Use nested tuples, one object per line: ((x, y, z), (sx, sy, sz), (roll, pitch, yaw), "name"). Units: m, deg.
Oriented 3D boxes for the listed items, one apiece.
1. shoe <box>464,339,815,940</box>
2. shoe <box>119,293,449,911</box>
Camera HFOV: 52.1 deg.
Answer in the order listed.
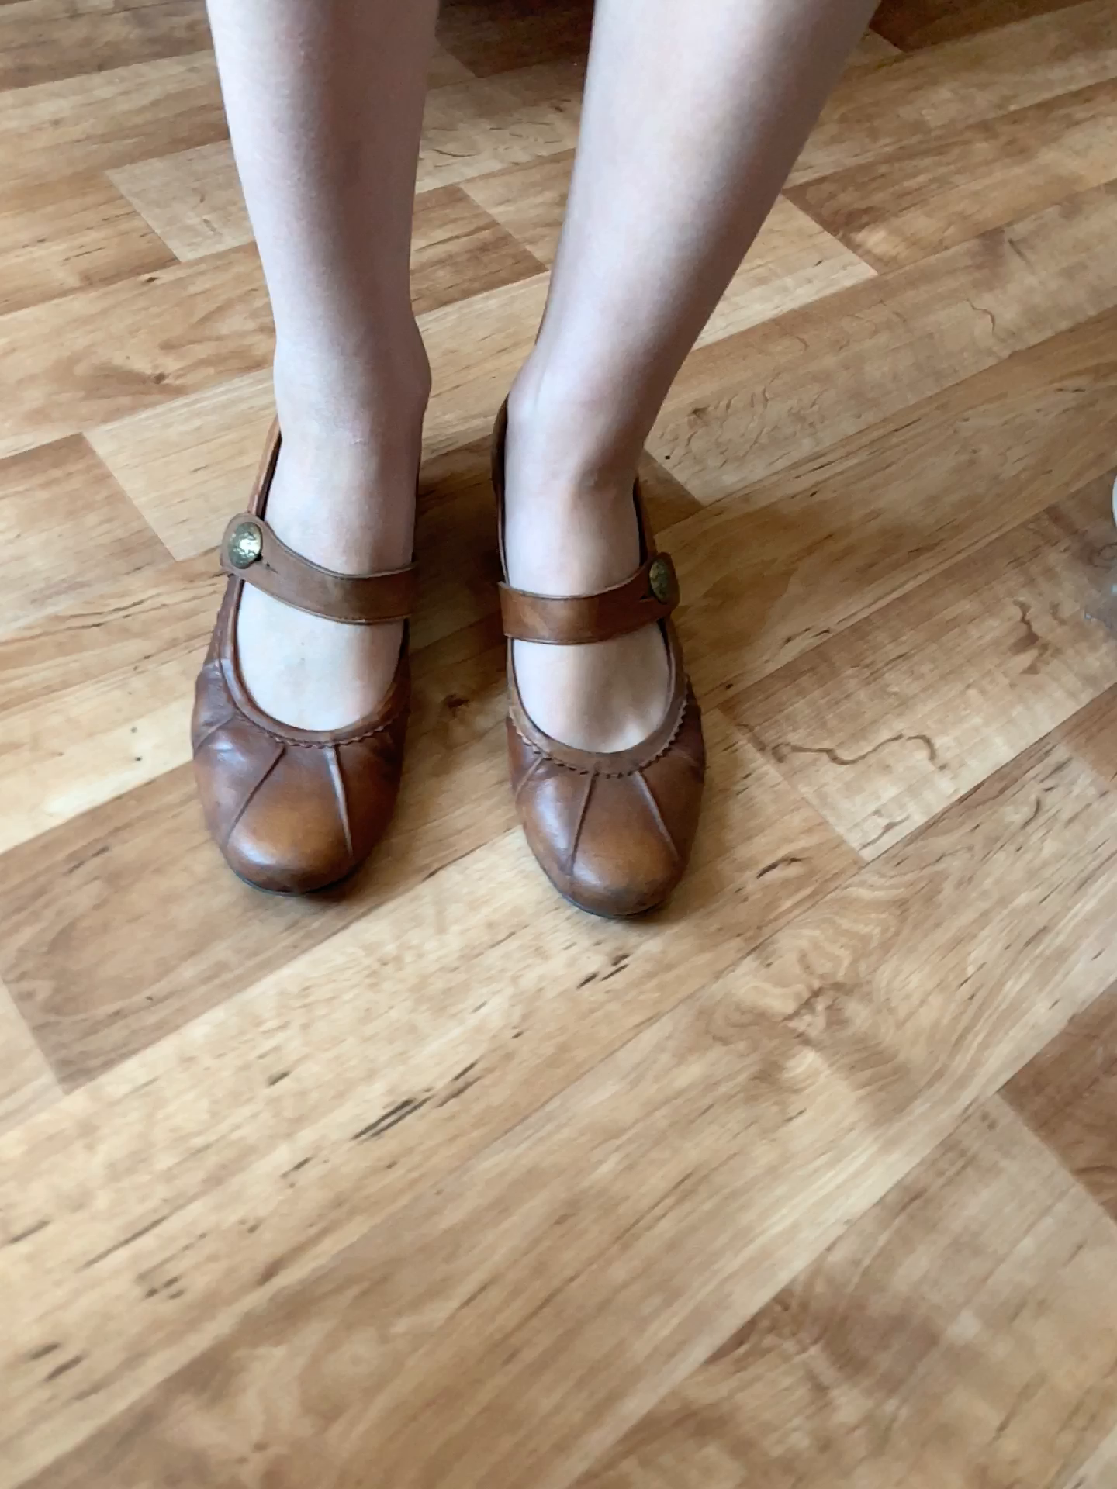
((0.020, -0.054, 0.491), (0.090, 0.090, 0.251), (-3, 58, -11), "shoe")
((-0.102, -0.067, 0.478), (0.090, 0.090, 0.251), (5, 57, -6), "shoe")
